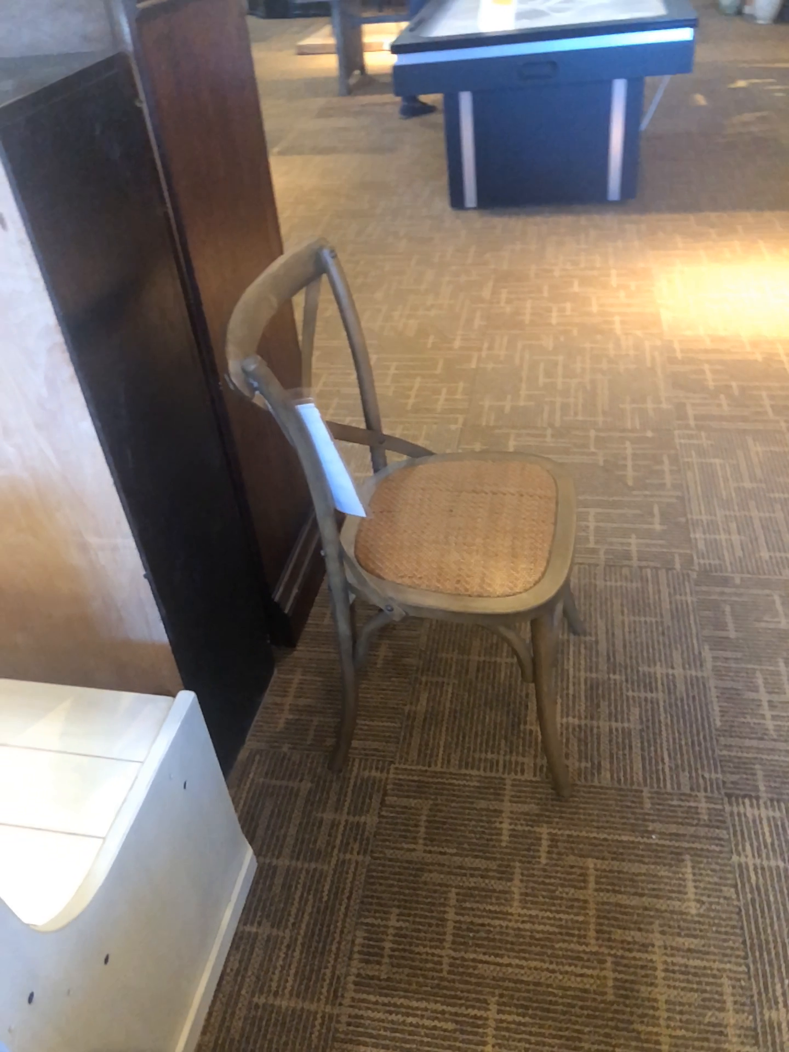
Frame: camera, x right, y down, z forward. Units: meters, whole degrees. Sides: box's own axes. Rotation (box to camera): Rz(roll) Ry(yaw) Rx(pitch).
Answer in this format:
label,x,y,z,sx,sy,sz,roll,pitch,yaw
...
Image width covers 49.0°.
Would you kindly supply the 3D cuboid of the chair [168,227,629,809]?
label,x,y,z,sx,sy,sz,roll,pitch,yaw
chair,0.075,-0.017,1.488,0.565,0.813,0.517,4,39,13
